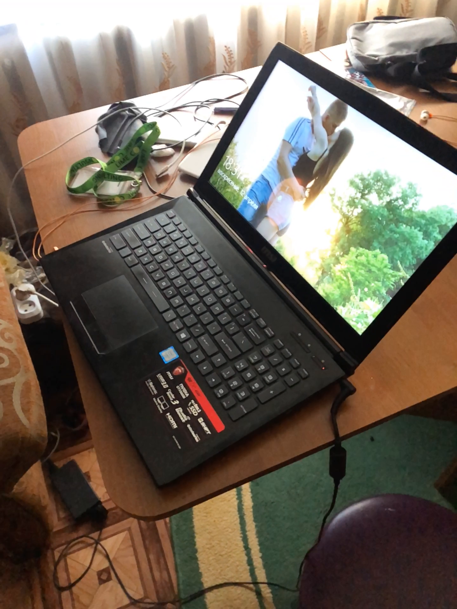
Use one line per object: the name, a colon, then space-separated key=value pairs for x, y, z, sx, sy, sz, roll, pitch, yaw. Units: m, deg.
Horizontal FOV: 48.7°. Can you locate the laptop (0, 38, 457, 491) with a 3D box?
laptop: x=0.007 y=-0.089 z=0.586 sx=0.409 sy=0.174 sz=0.375 roll=-28 pitch=55 yaw=-17
